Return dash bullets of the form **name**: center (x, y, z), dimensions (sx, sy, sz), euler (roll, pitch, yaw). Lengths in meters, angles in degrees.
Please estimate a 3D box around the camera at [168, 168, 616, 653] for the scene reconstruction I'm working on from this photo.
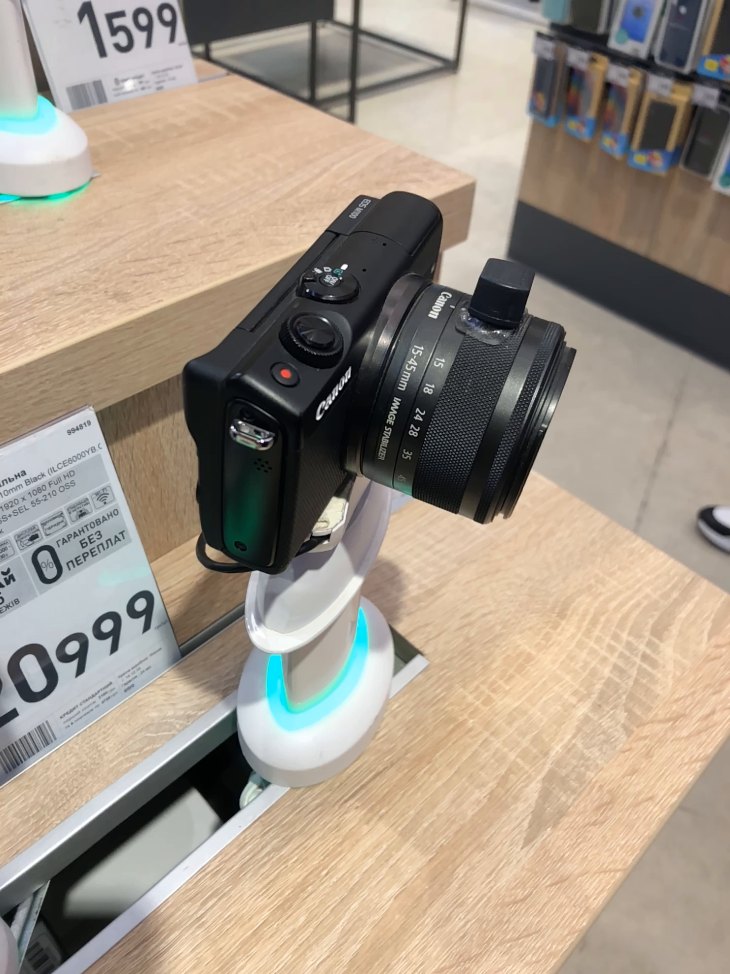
- **camera**: center (0.012, -0.029, 0.225), dimensions (0.082, 0.060, 0.113), euler (19, 45, 10)
